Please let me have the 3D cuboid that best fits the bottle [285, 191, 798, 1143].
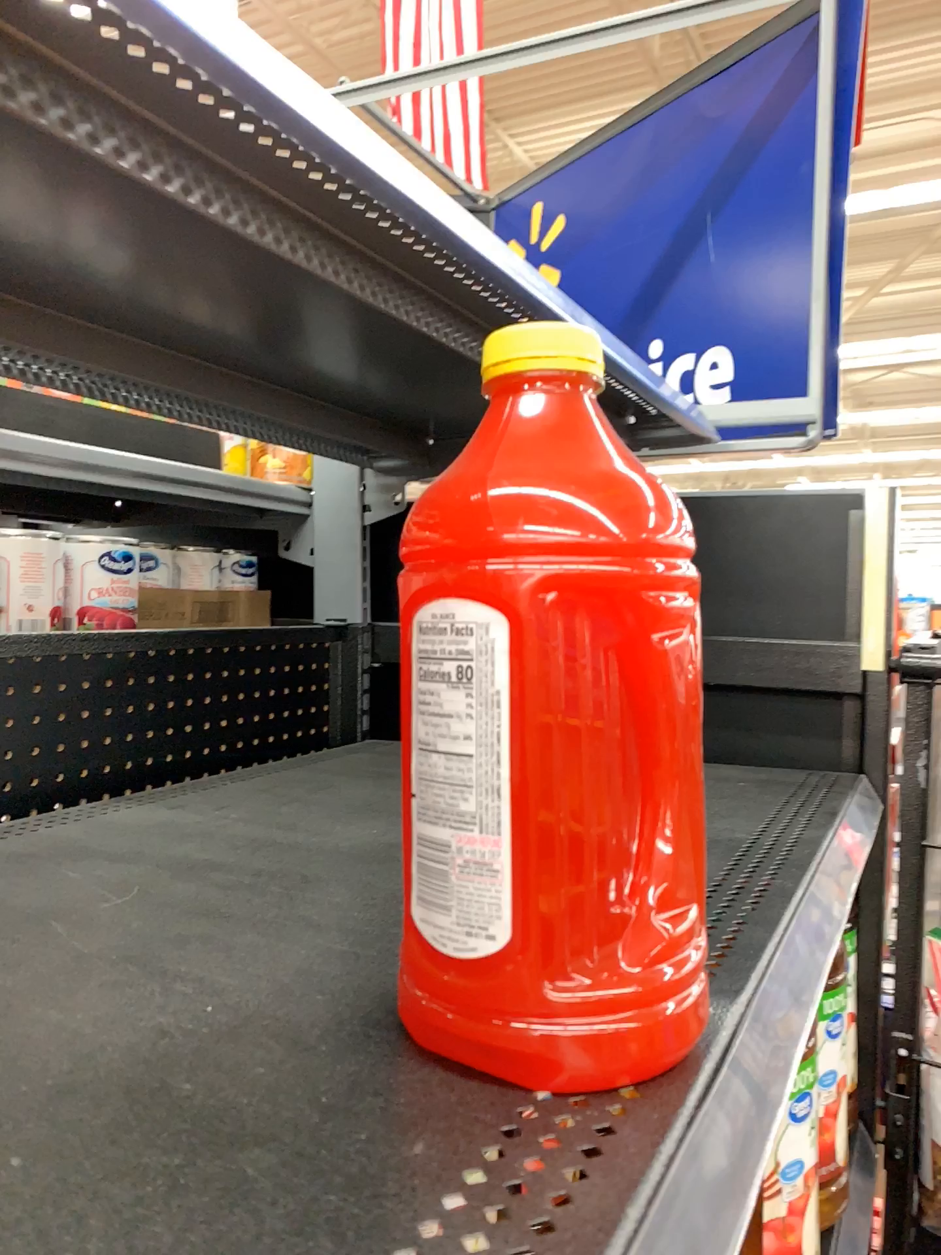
[{"bbox_3d":[0.026,0.009,0.360,0.140,0.265,0.122,2,1,41],"label":"bottle"}]
